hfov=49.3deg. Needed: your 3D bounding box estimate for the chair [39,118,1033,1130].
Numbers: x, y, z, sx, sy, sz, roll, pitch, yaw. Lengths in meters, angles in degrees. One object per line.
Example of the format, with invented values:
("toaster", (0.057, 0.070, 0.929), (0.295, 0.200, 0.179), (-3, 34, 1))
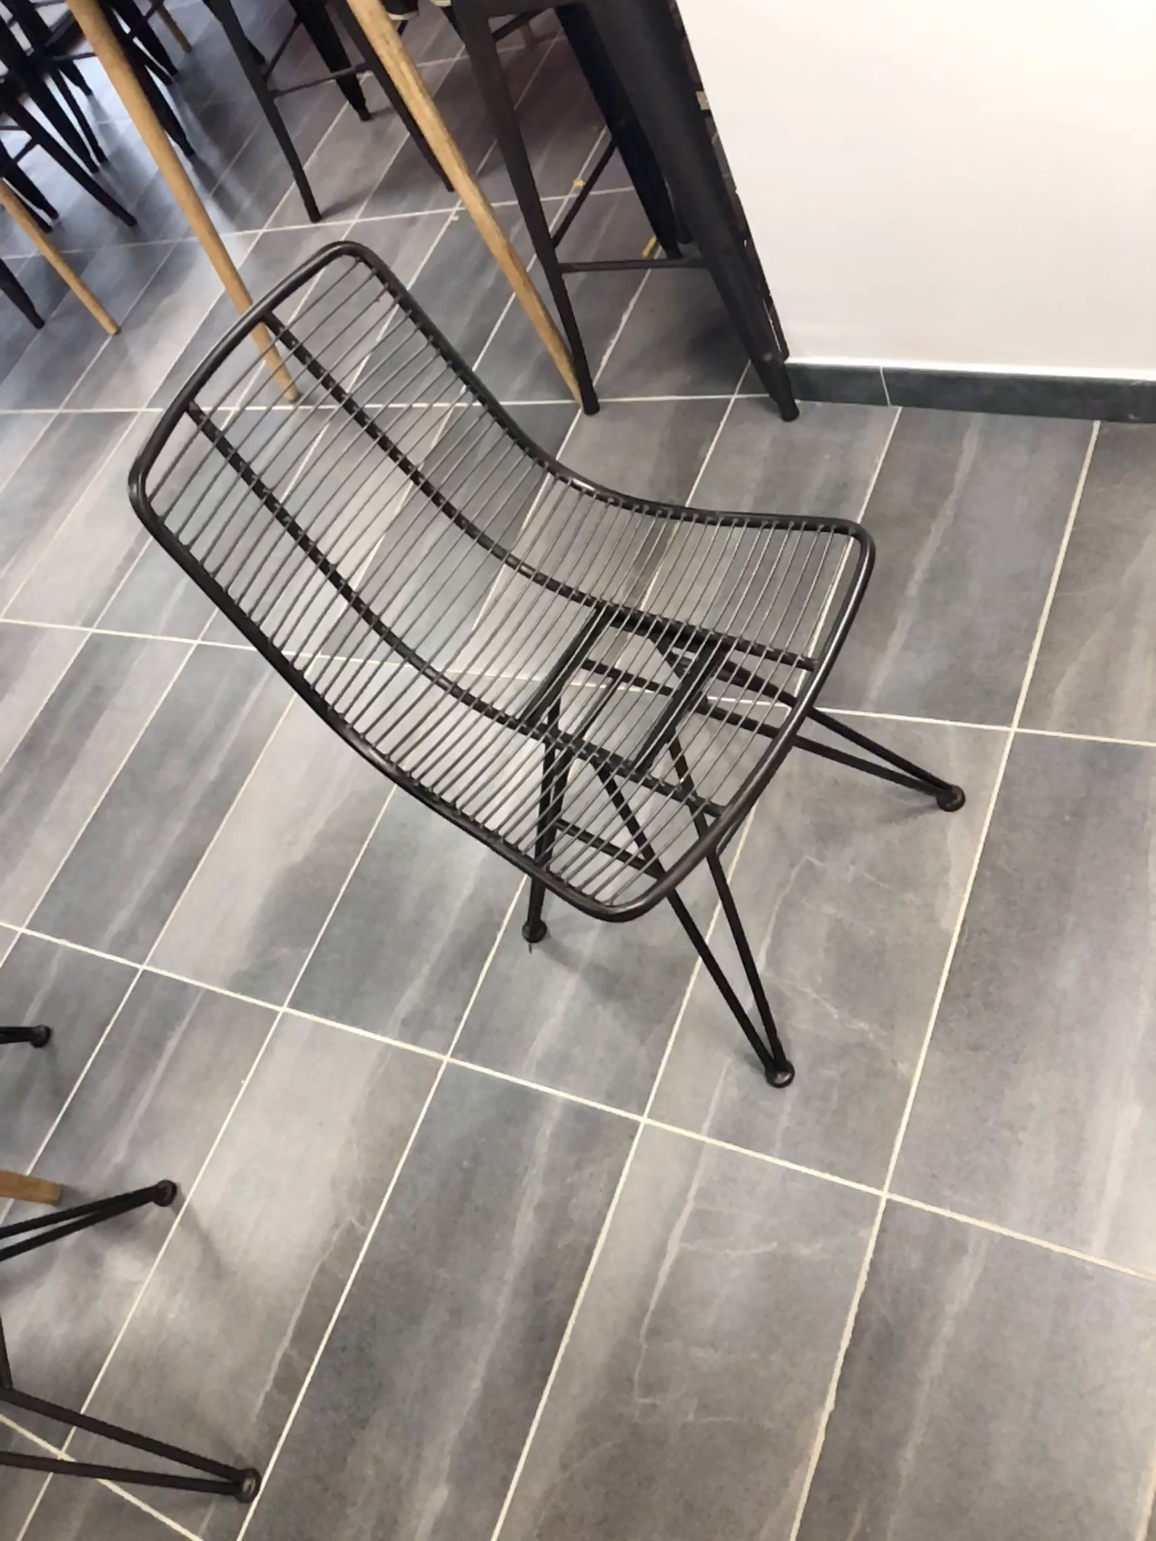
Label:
("chair", (0.042, -0.111, 1.239), (0.521, 0.787, 0.501), (25, 72, 36))
